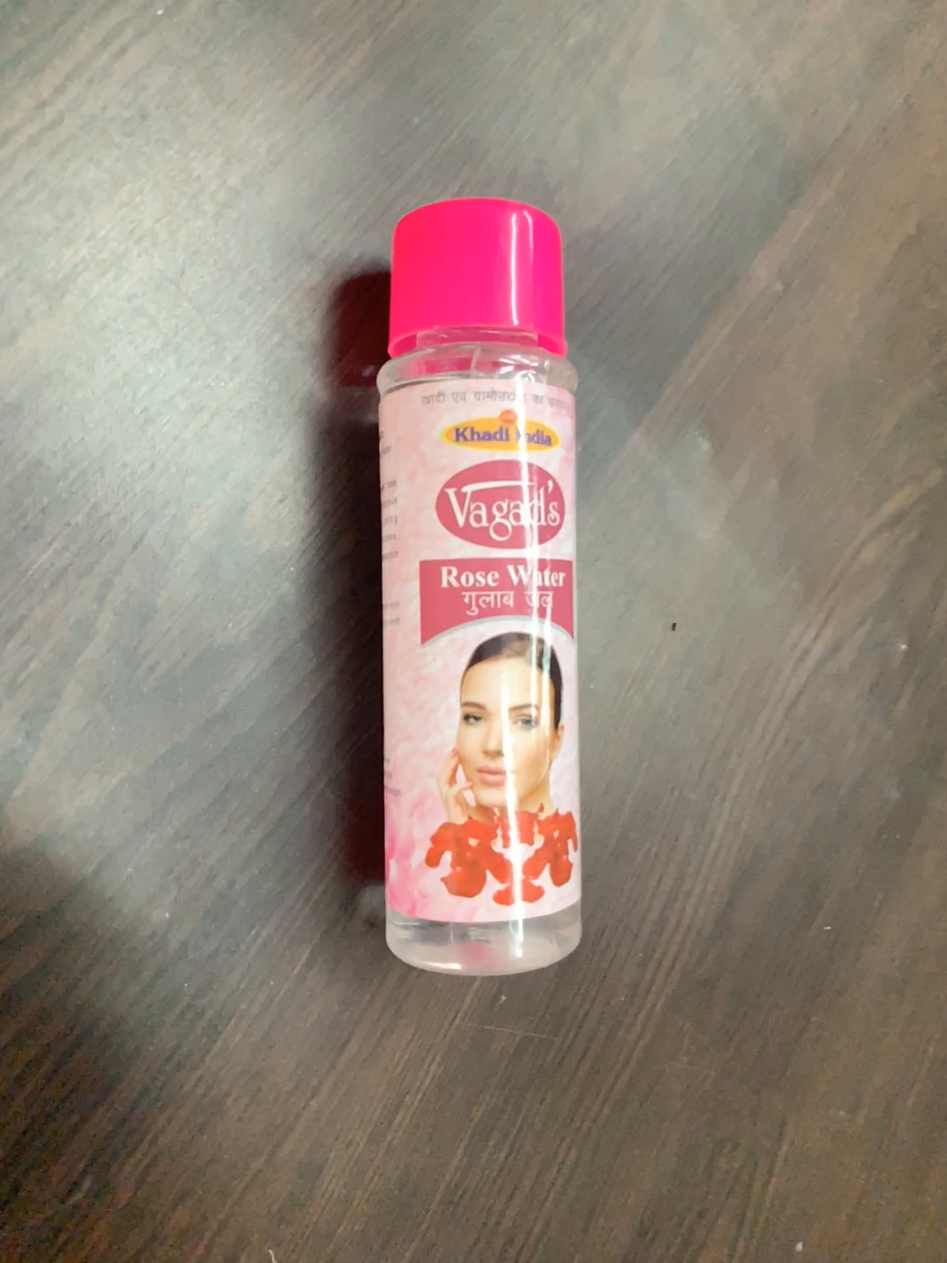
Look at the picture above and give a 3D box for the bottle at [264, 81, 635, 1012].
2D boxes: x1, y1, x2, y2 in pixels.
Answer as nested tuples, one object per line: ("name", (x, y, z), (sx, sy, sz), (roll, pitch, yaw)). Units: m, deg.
("bottle", (-0.006, -0.012, 0.178), (0.050, 0.040, 0.140), (1, 92, -28))
